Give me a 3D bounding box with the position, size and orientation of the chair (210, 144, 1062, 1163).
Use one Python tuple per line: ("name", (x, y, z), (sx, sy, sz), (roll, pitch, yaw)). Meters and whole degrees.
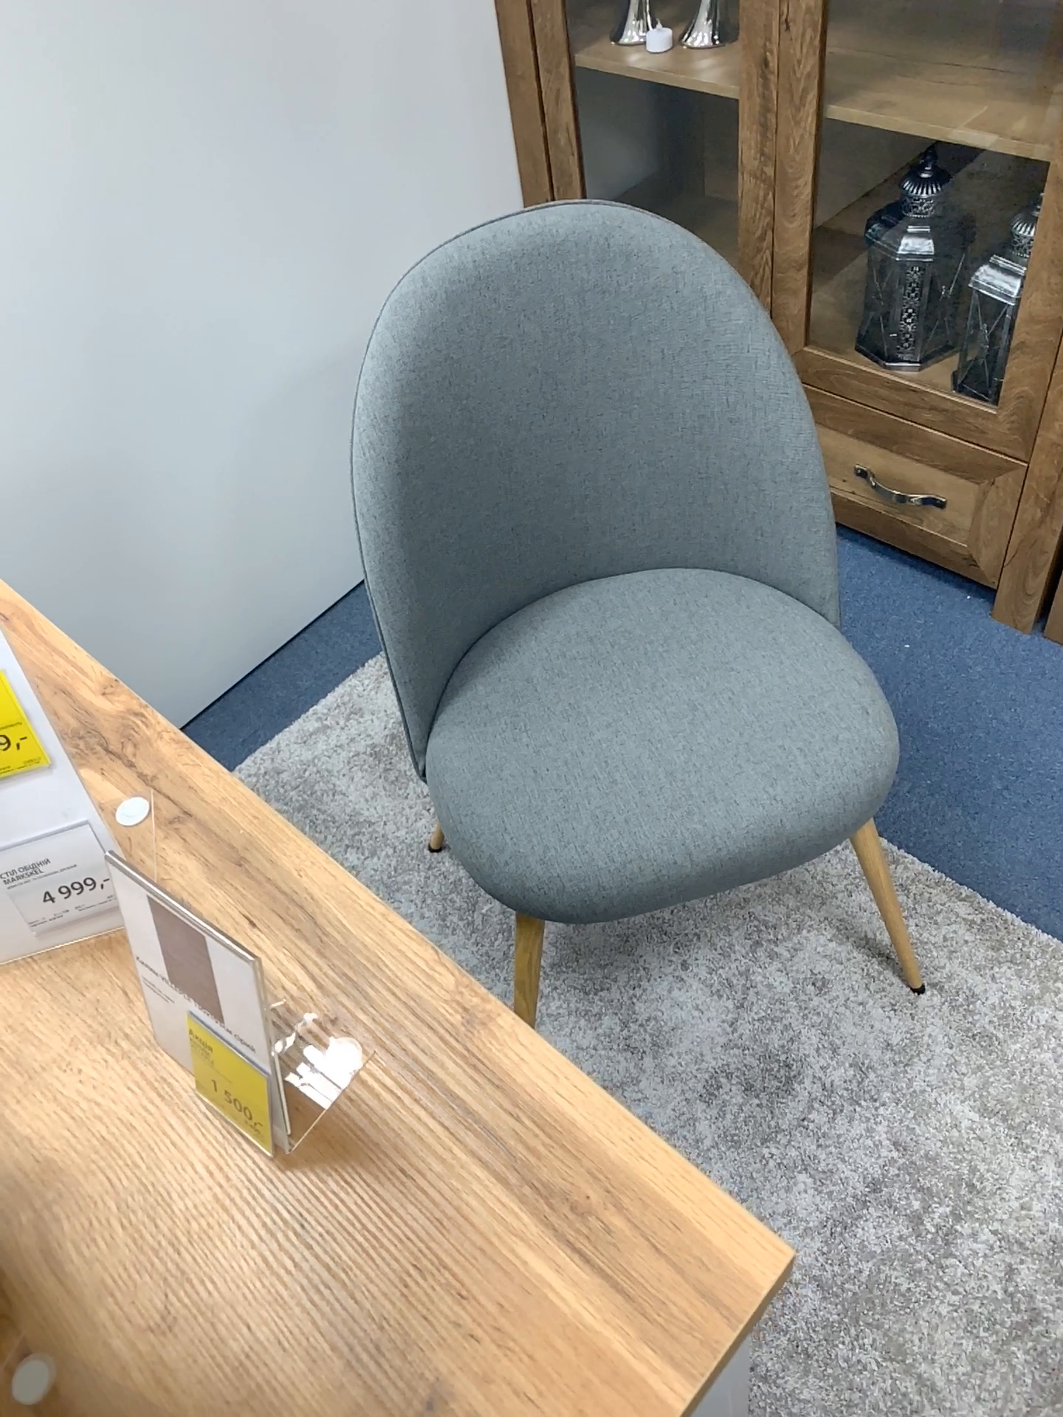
("chair", (0.093, -0.030, 1.117), (0.530, 0.737, 0.572), (-19, 49, -7))
